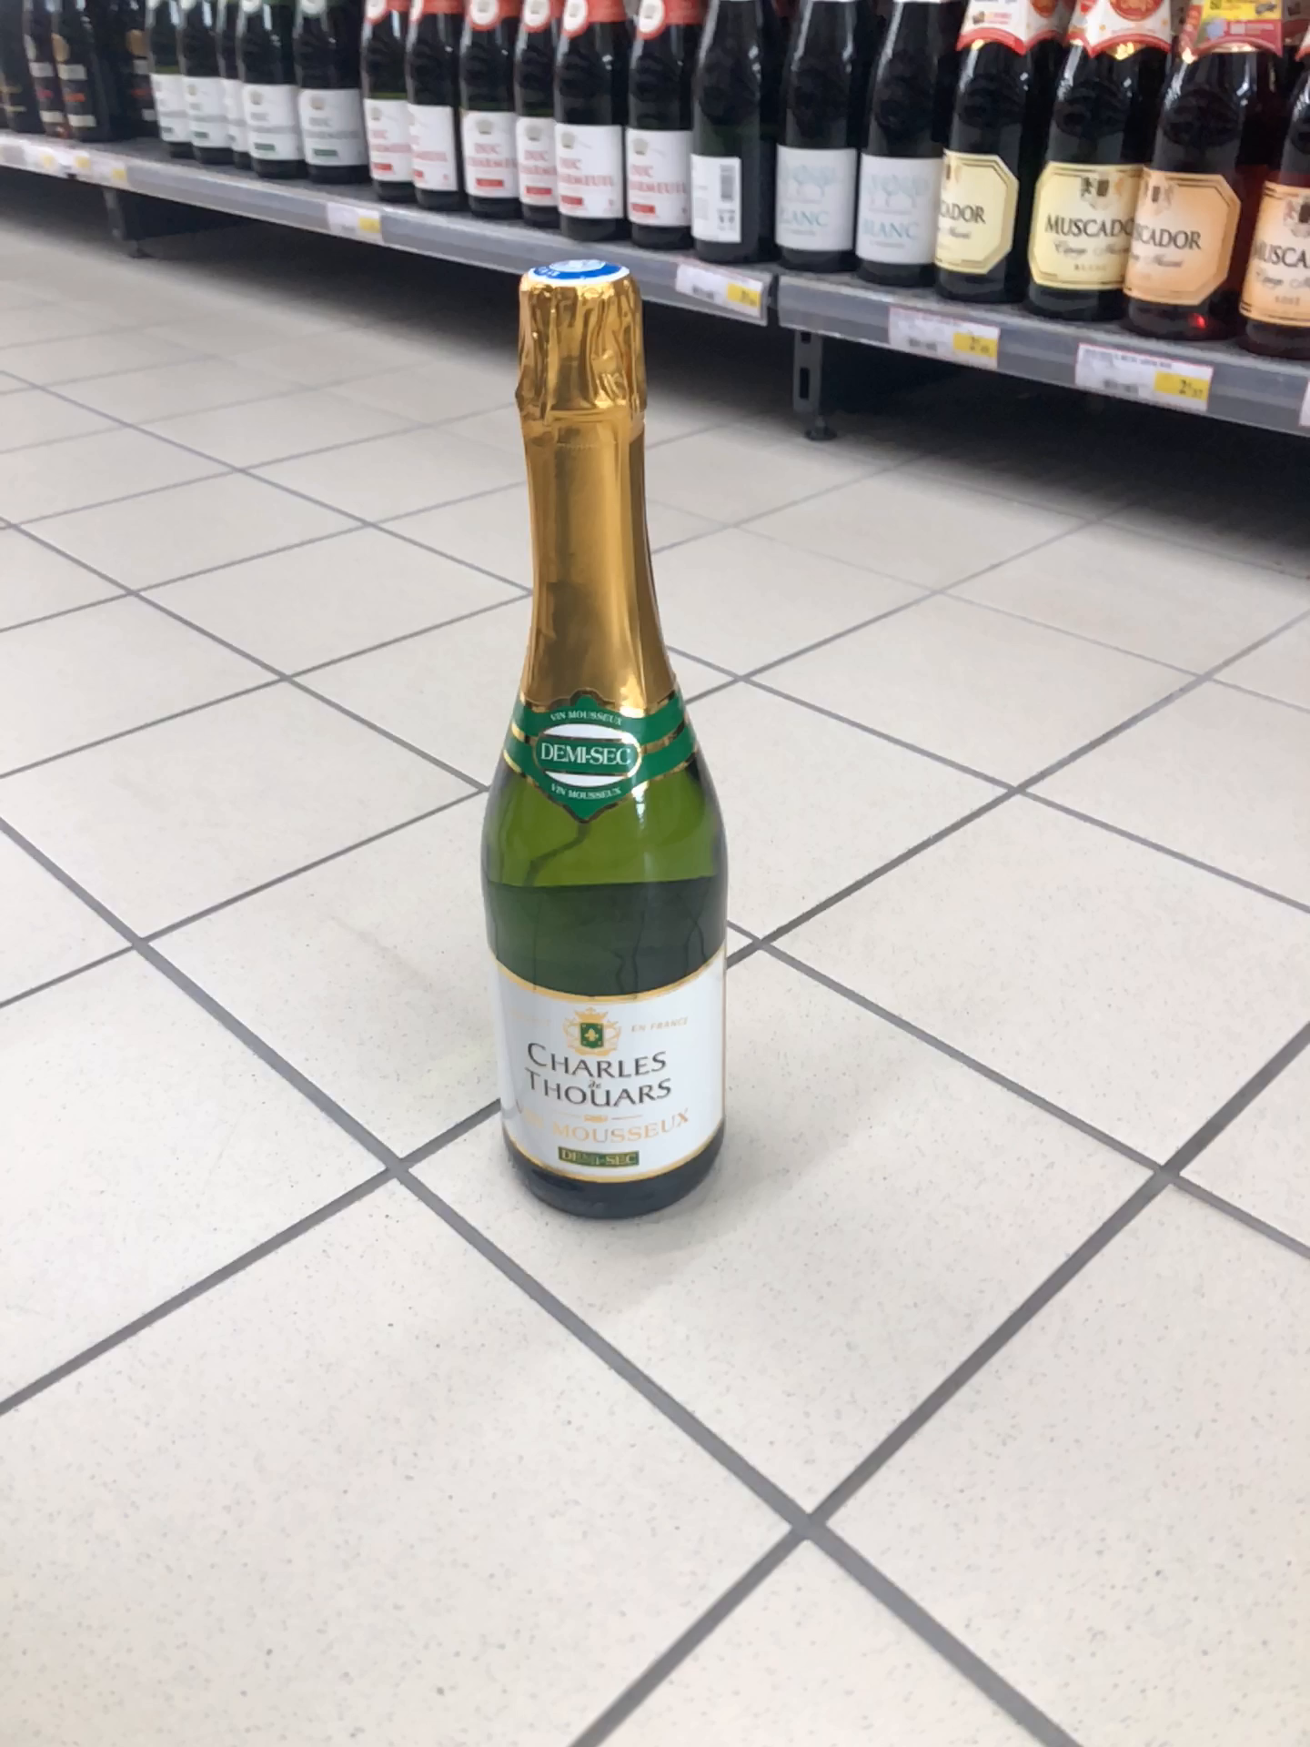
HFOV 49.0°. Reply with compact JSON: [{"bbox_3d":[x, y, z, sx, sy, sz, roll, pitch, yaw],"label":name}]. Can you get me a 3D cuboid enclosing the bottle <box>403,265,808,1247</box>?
[{"bbox_3d":[-0.008,-0.027,0.464,0.090,0.298,0.091,0,31,0],"label":"bottle"}]
